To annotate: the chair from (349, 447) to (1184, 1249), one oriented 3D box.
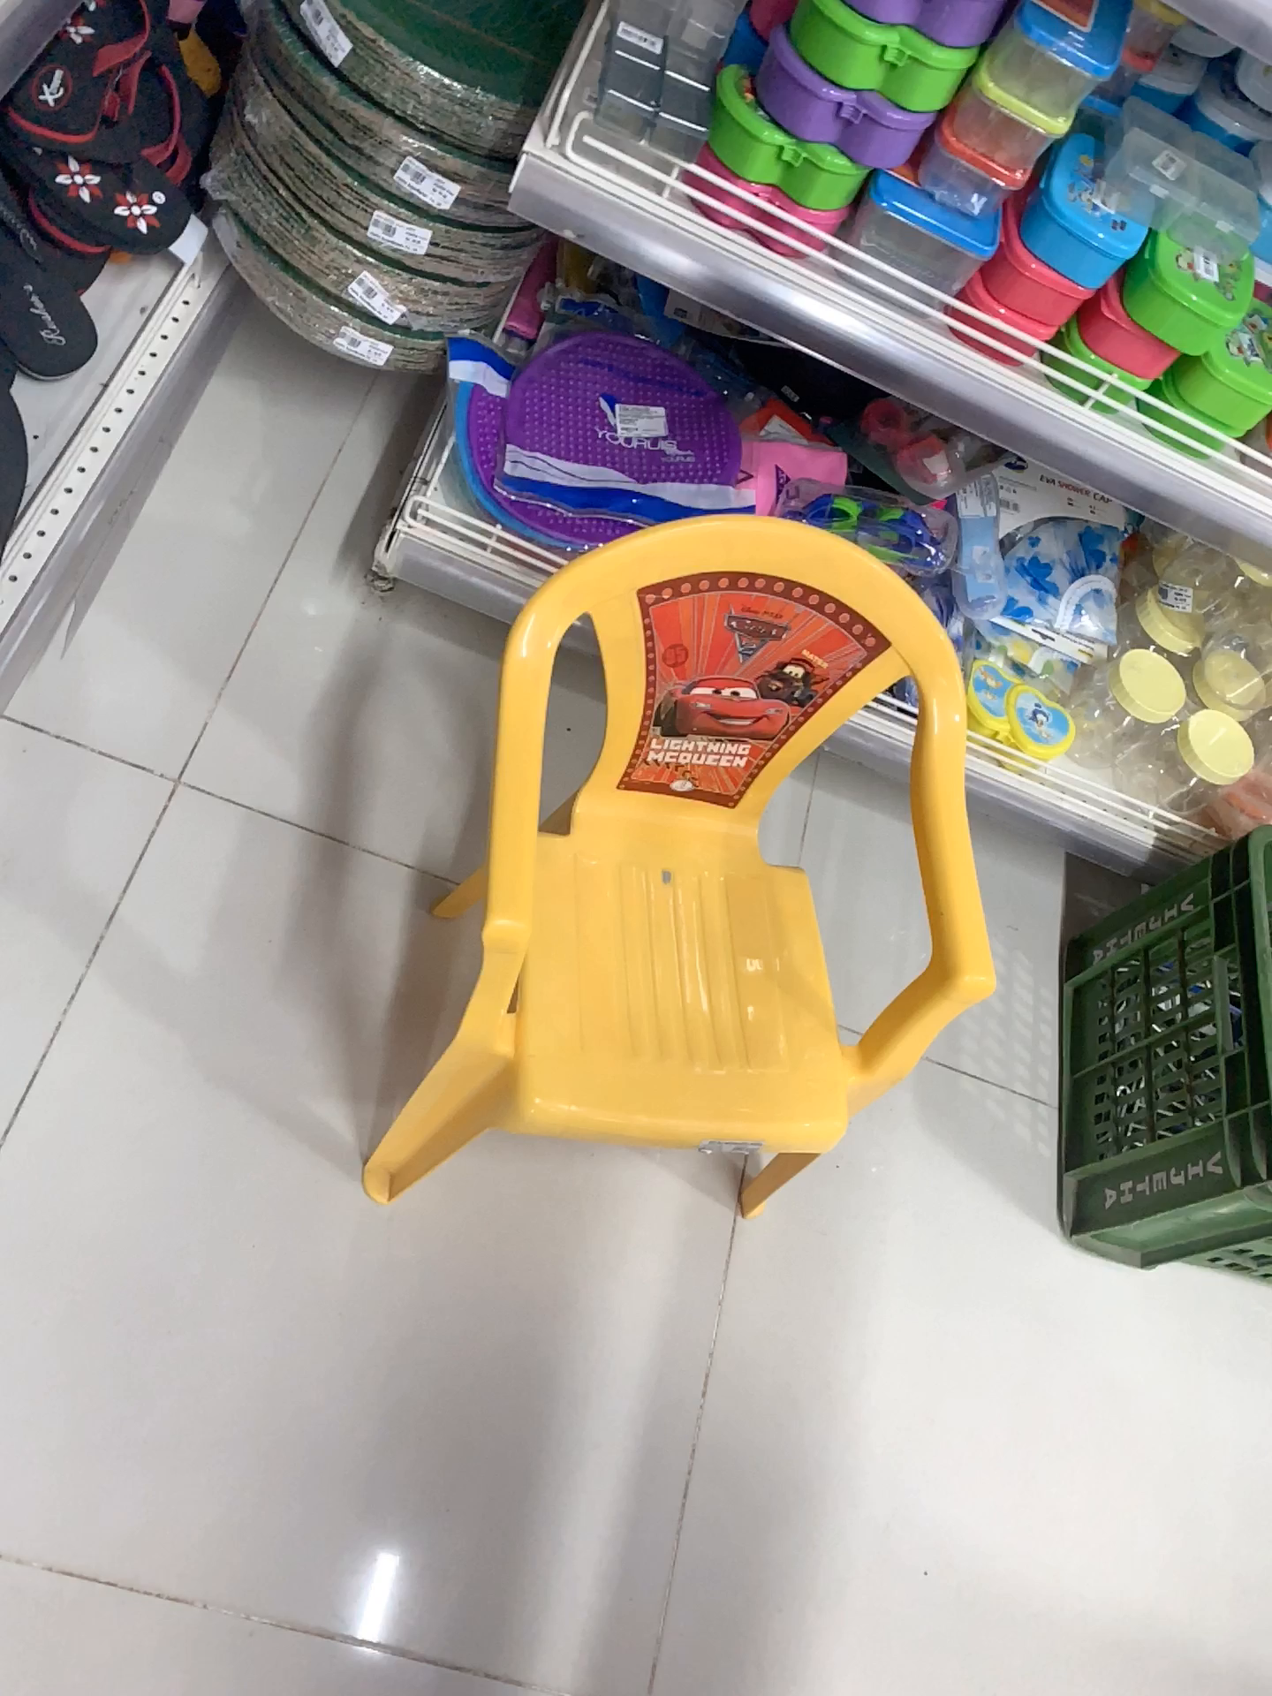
[{"bbox_3d":[0.037,0.058,0.958,0.391,0.499,0.370,8,62,-18],"label":"chair"}]
